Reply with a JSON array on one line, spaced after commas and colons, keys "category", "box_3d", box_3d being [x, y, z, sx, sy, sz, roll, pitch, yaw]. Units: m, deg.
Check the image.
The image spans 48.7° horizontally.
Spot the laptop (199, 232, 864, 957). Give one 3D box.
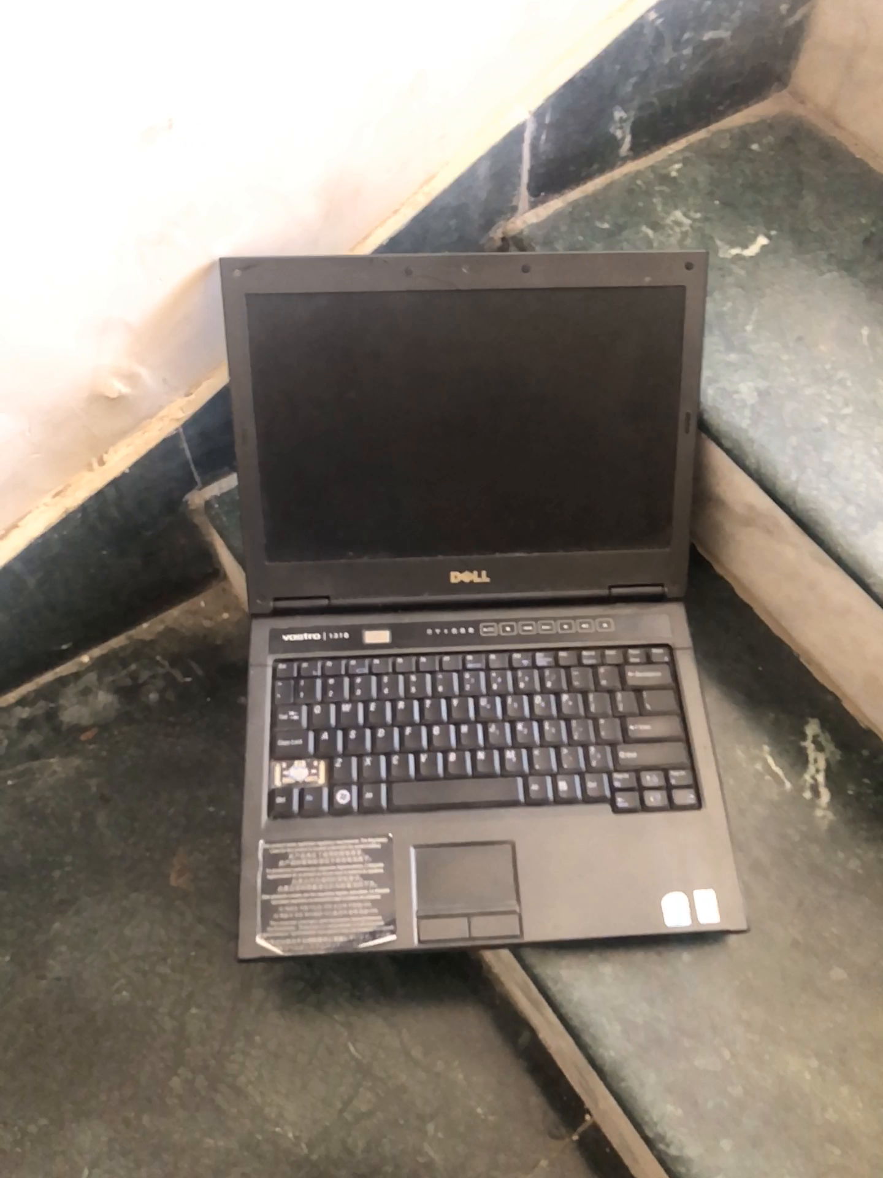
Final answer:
[{"category": "laptop", "box_3d": [0.029, -0.004, 0.597, 0.301, 0.169, 0.387, -2, 63, -4]}]
